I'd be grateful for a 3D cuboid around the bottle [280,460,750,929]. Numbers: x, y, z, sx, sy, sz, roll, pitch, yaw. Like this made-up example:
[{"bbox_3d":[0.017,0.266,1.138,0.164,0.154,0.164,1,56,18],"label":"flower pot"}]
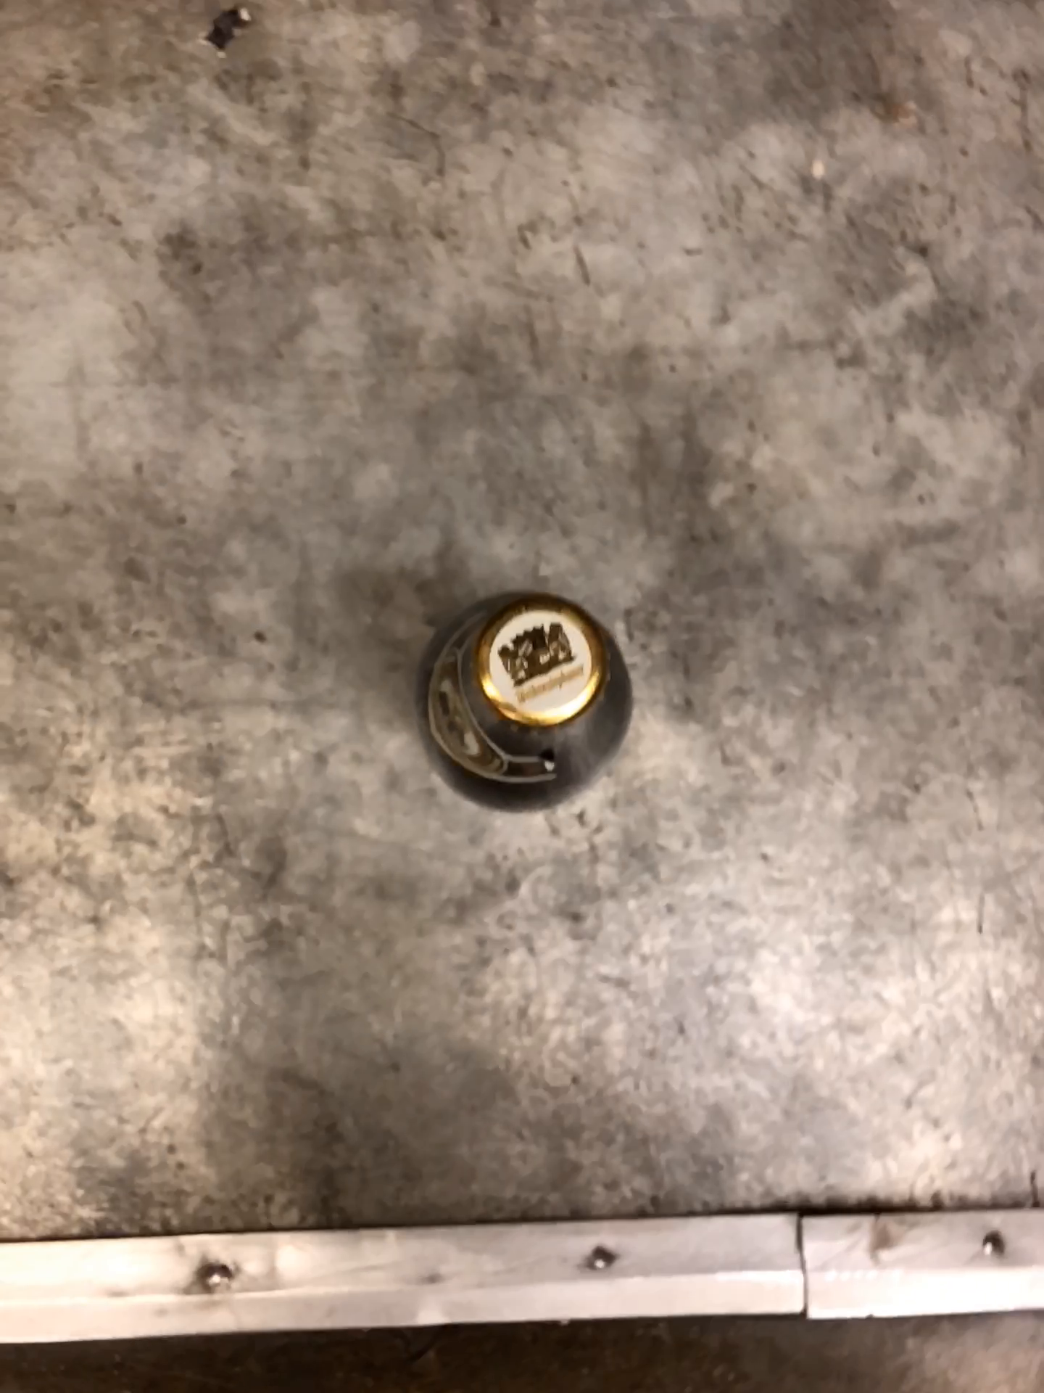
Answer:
[{"bbox_3d":[-0.004,0.008,0.342,0.070,0.250,0.070,0,86,-1],"label":"bottle"}]
